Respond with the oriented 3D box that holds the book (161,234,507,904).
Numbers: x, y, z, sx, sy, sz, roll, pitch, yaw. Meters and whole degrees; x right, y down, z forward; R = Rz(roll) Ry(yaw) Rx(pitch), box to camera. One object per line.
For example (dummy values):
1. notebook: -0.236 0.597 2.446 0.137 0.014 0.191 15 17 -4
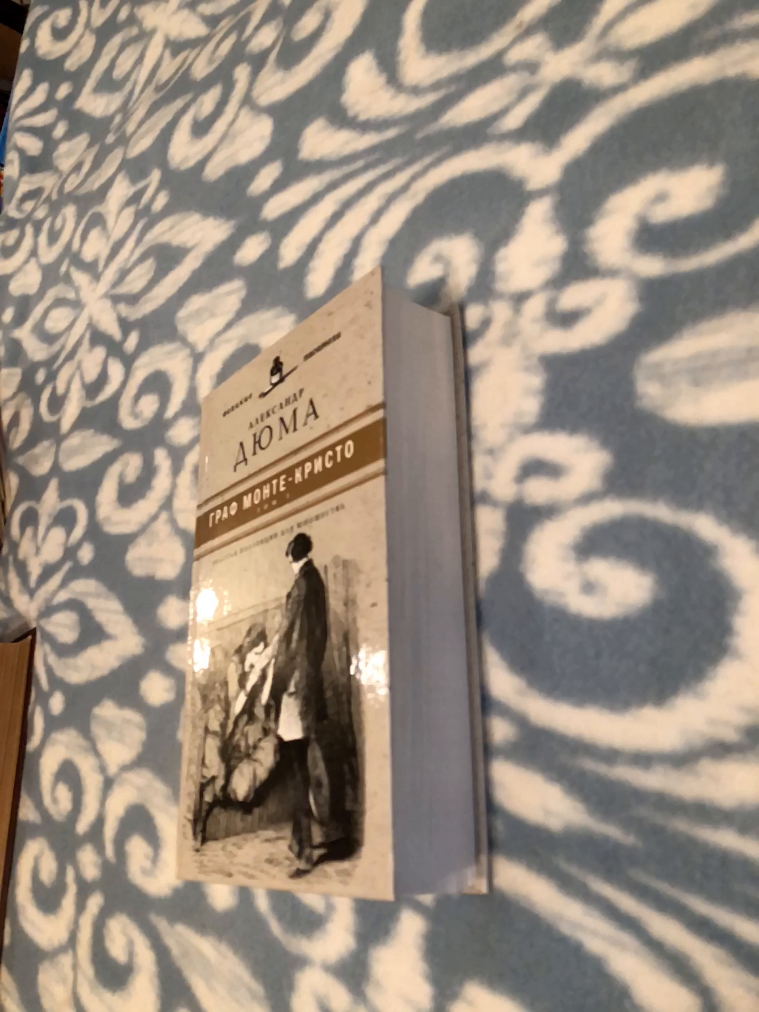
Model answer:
1. book: -0.025 0.027 0.315 0.138 0.040 0.212 -23 60 46
